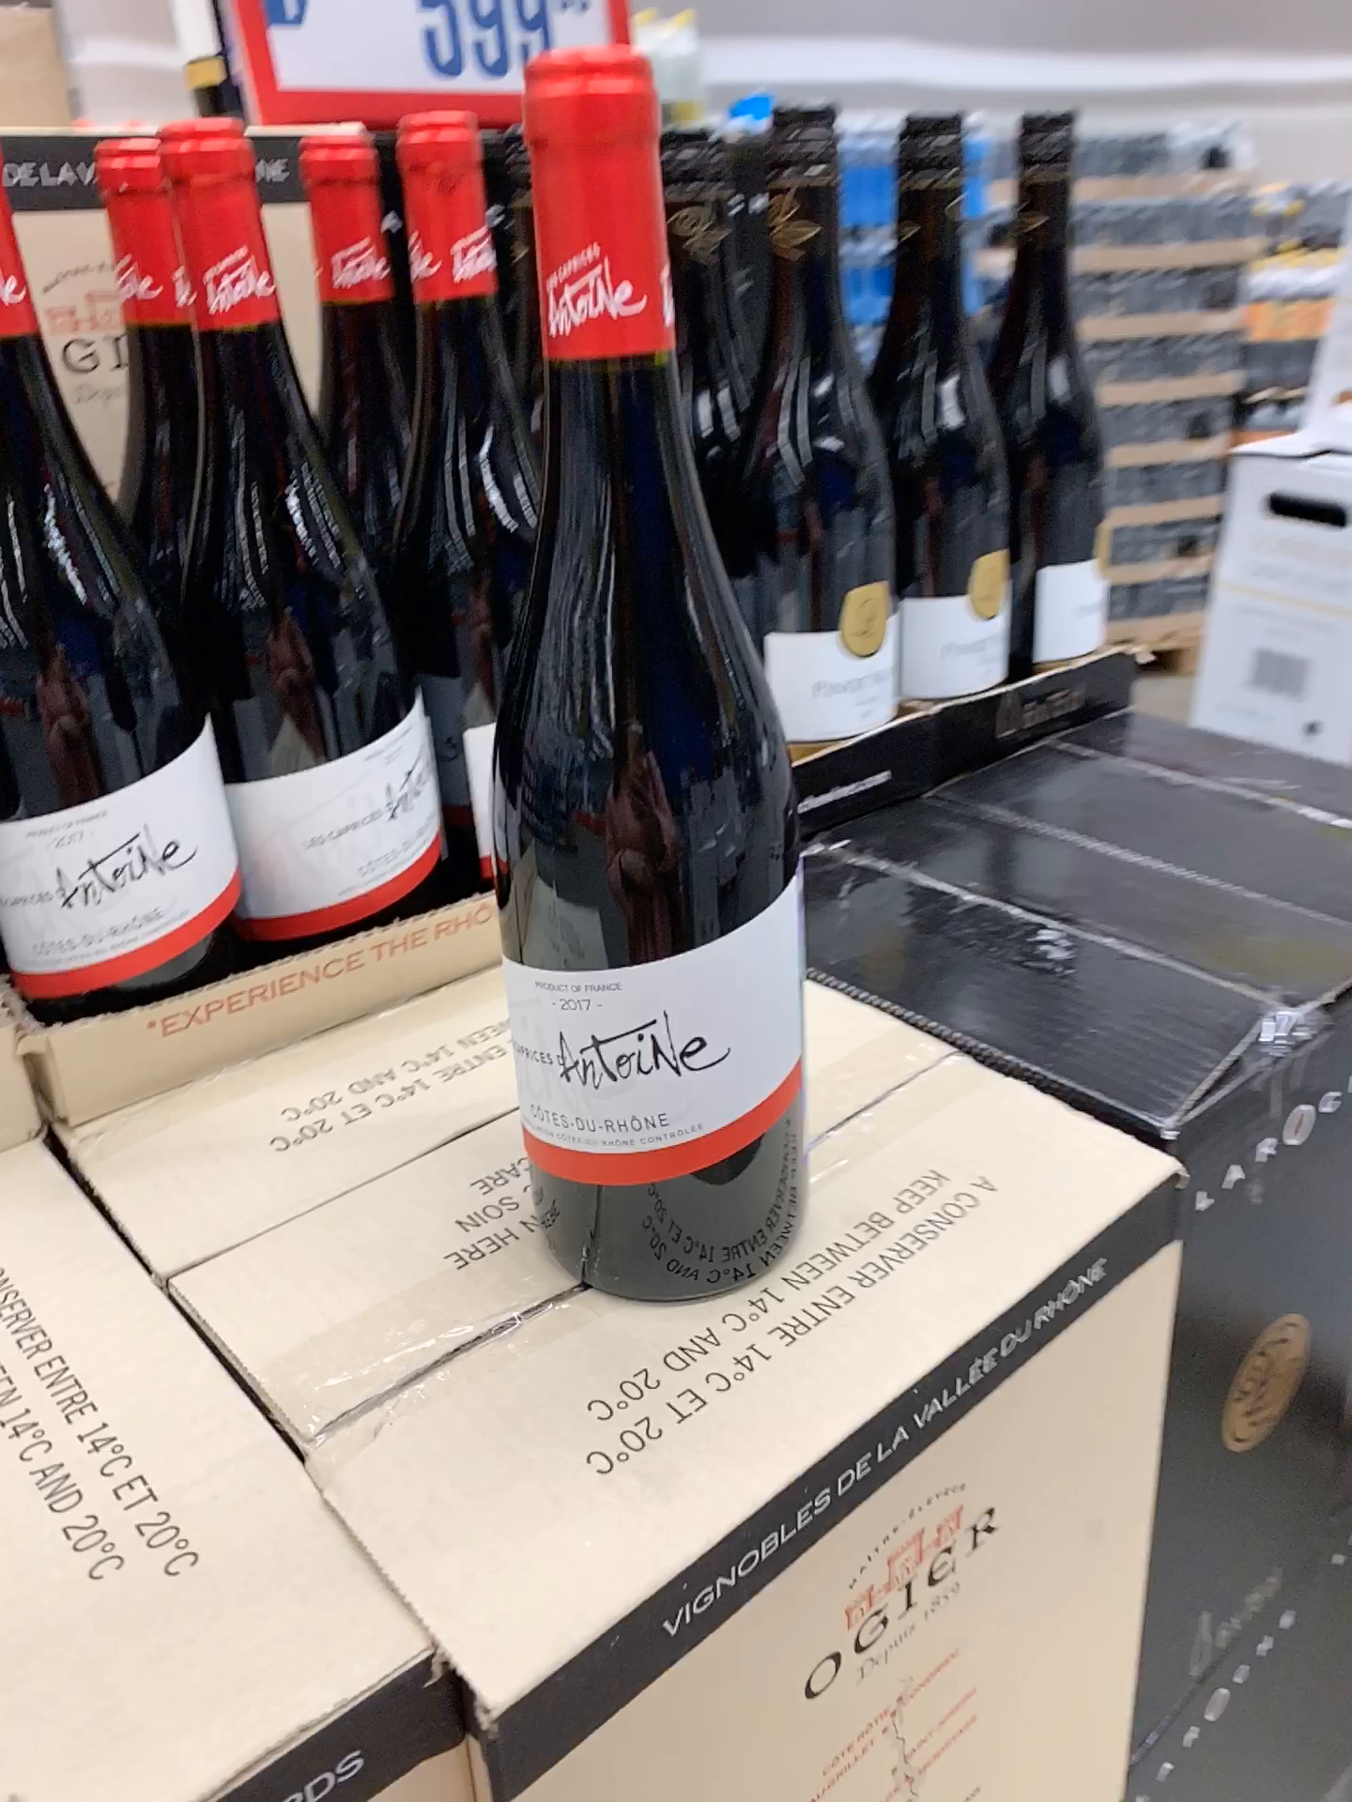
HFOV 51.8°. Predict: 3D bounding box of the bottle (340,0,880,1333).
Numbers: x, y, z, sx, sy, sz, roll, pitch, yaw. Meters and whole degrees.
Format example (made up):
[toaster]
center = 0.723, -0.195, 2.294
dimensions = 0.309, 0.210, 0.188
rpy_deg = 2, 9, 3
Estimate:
[bottle]
center = -0.004, -0.044, 0.352
dimensions = 0.090, 0.298, 0.090
rpy_deg = -1, 25, 1
